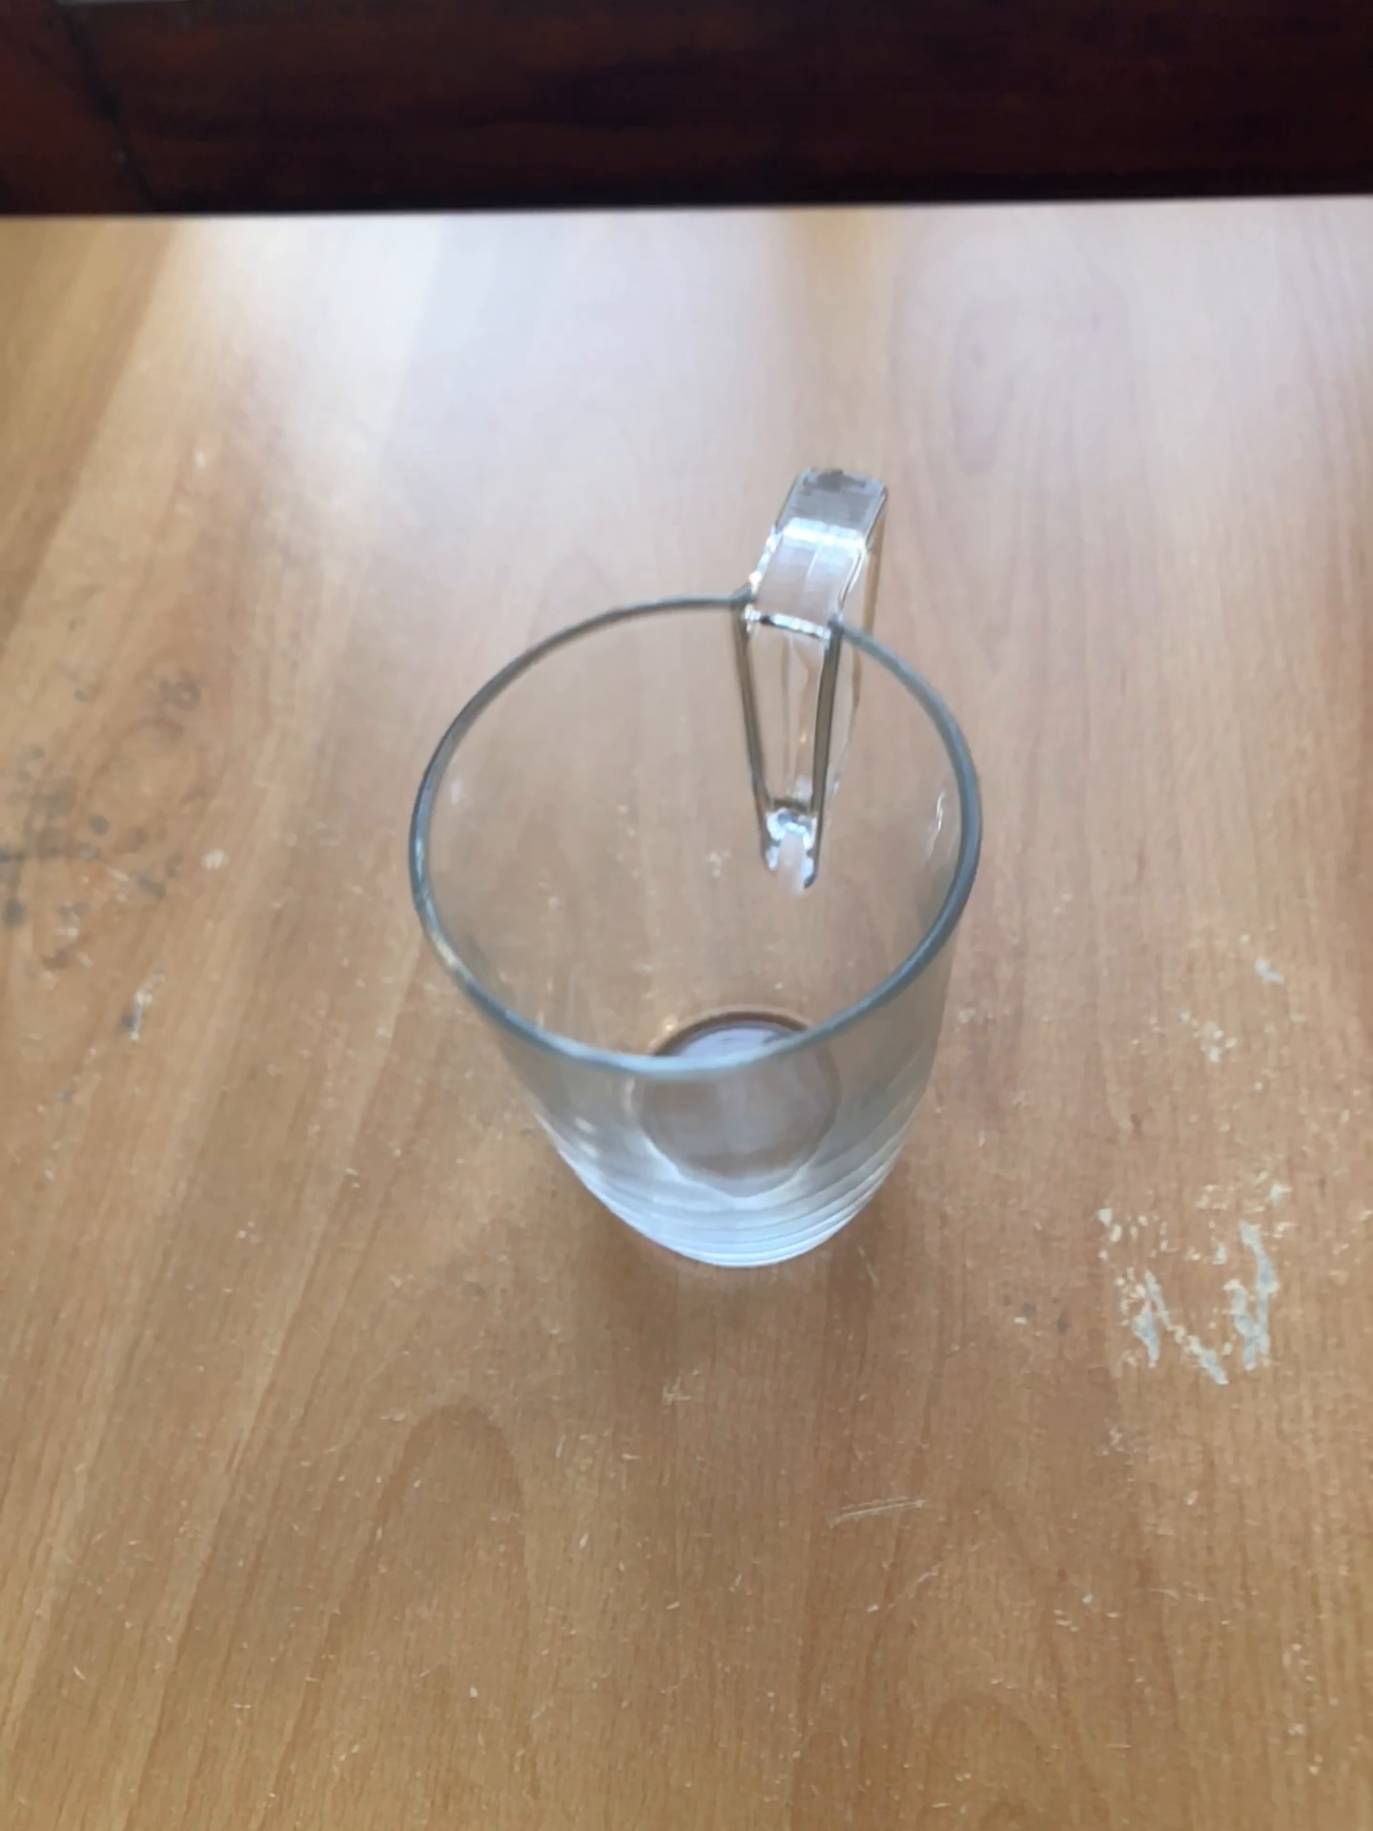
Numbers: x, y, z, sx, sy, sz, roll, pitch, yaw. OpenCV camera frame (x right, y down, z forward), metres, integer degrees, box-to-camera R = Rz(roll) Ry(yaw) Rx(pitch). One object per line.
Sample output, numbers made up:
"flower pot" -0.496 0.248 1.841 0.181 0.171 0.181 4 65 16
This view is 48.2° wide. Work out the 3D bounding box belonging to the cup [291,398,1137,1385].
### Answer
"cup" 0.012 0.000 0.246 0.078 0.103 0.104 18 65 16
